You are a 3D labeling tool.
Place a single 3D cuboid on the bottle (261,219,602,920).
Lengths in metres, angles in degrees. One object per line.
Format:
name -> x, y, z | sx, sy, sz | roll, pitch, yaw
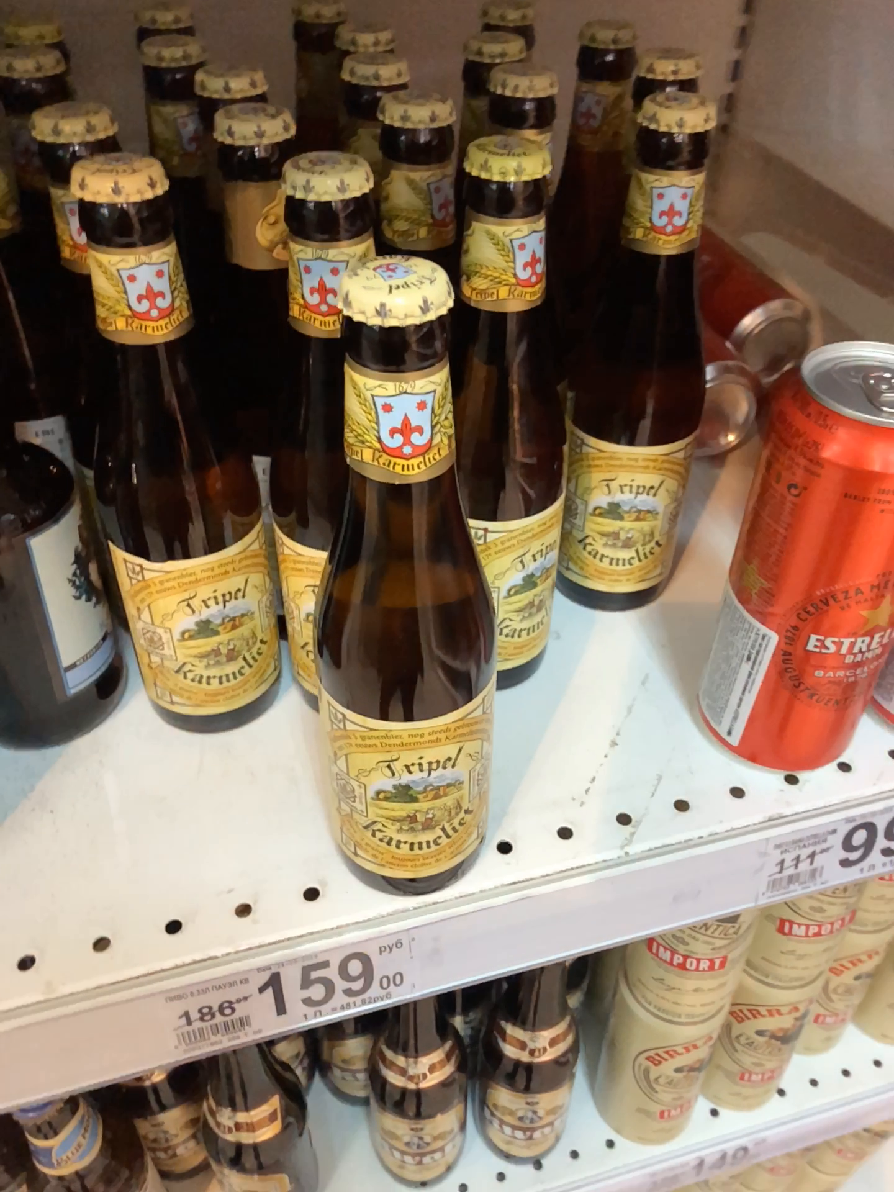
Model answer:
bottle -> -0.009, 0.006, 0.312 | 0.070, 0.219, 0.070 | 1, 41, -1
